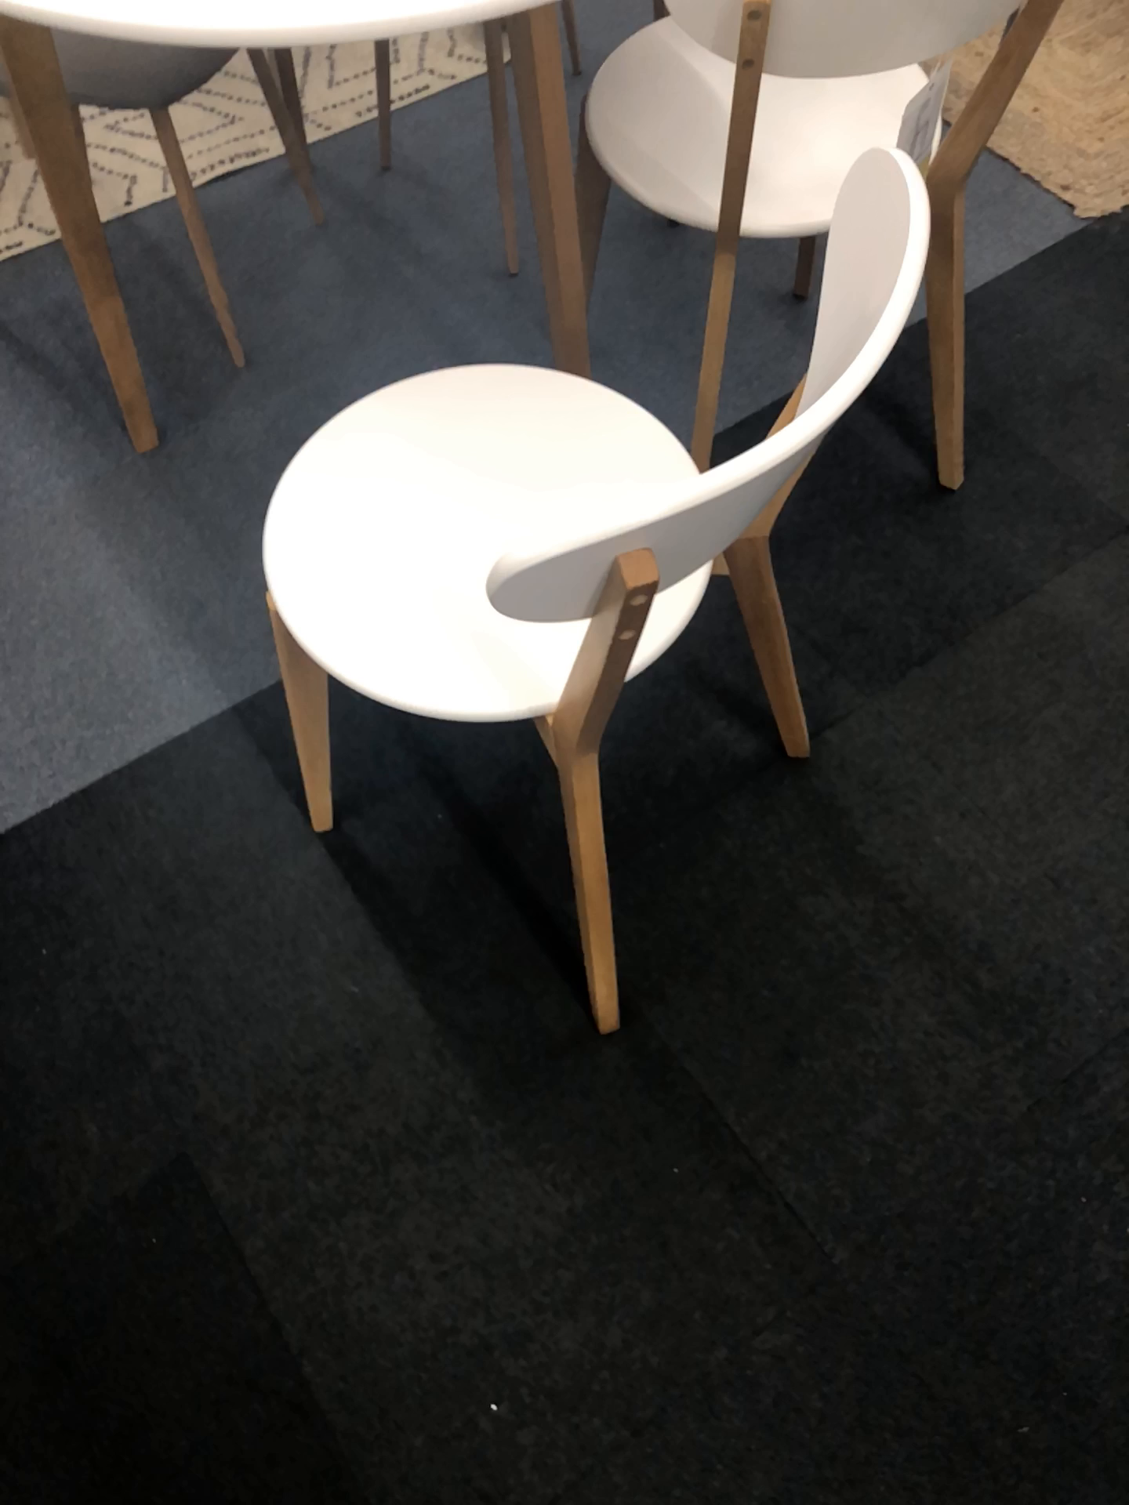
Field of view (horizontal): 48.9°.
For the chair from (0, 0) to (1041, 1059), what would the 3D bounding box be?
[{"bbox_3d":[-0.043,-0.179,1.065,0.560,0.599,0.481,31,65,19],"label":"chair"}]
